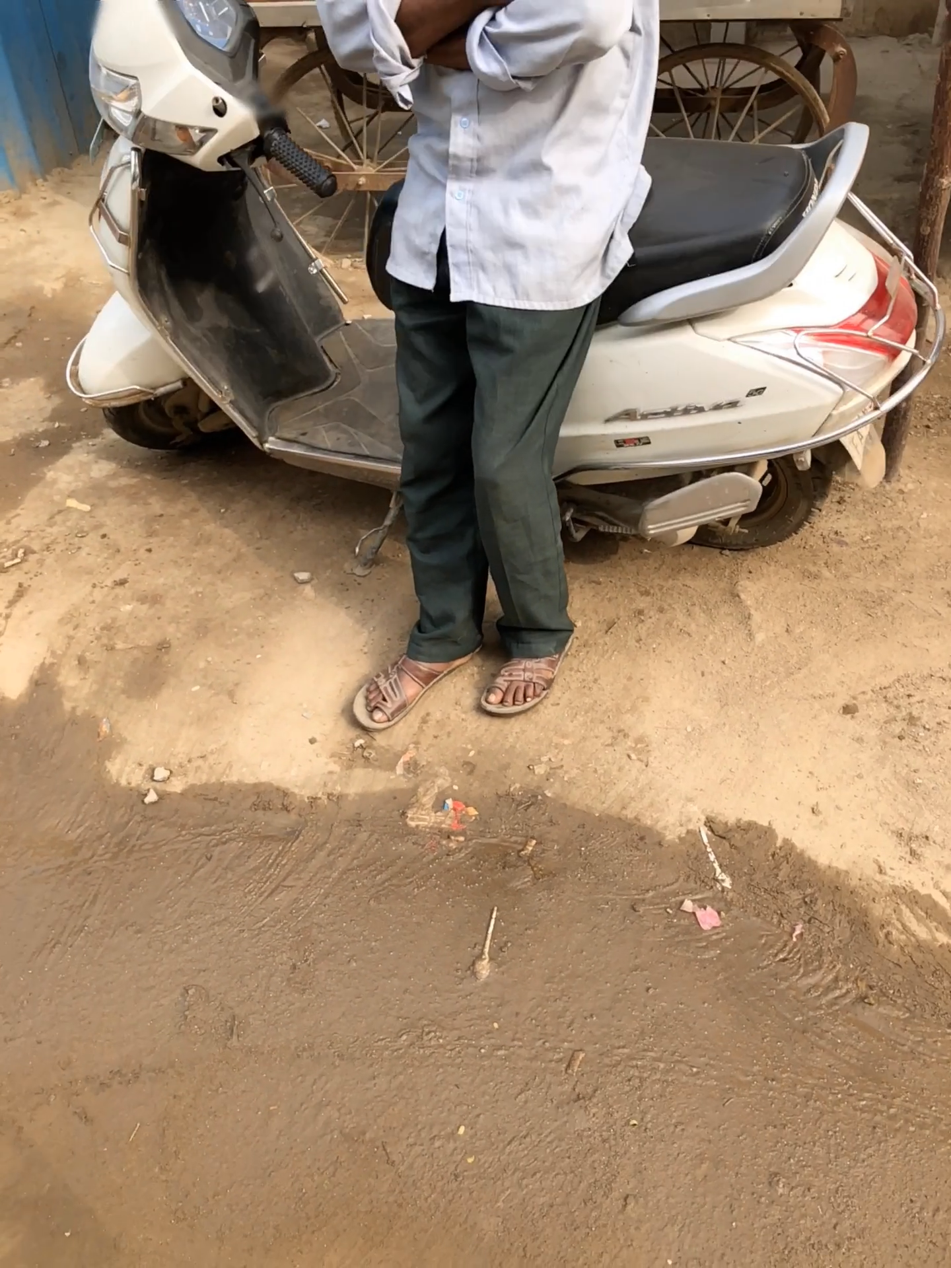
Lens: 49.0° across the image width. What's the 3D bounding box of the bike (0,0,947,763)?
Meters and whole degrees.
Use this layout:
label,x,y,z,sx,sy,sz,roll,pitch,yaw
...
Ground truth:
label,x,y,z,sx,sy,sz,roll,pitch,yaw
bike,-0.183,-0.527,1.793,1.574,1.112,0.660,9,42,17
